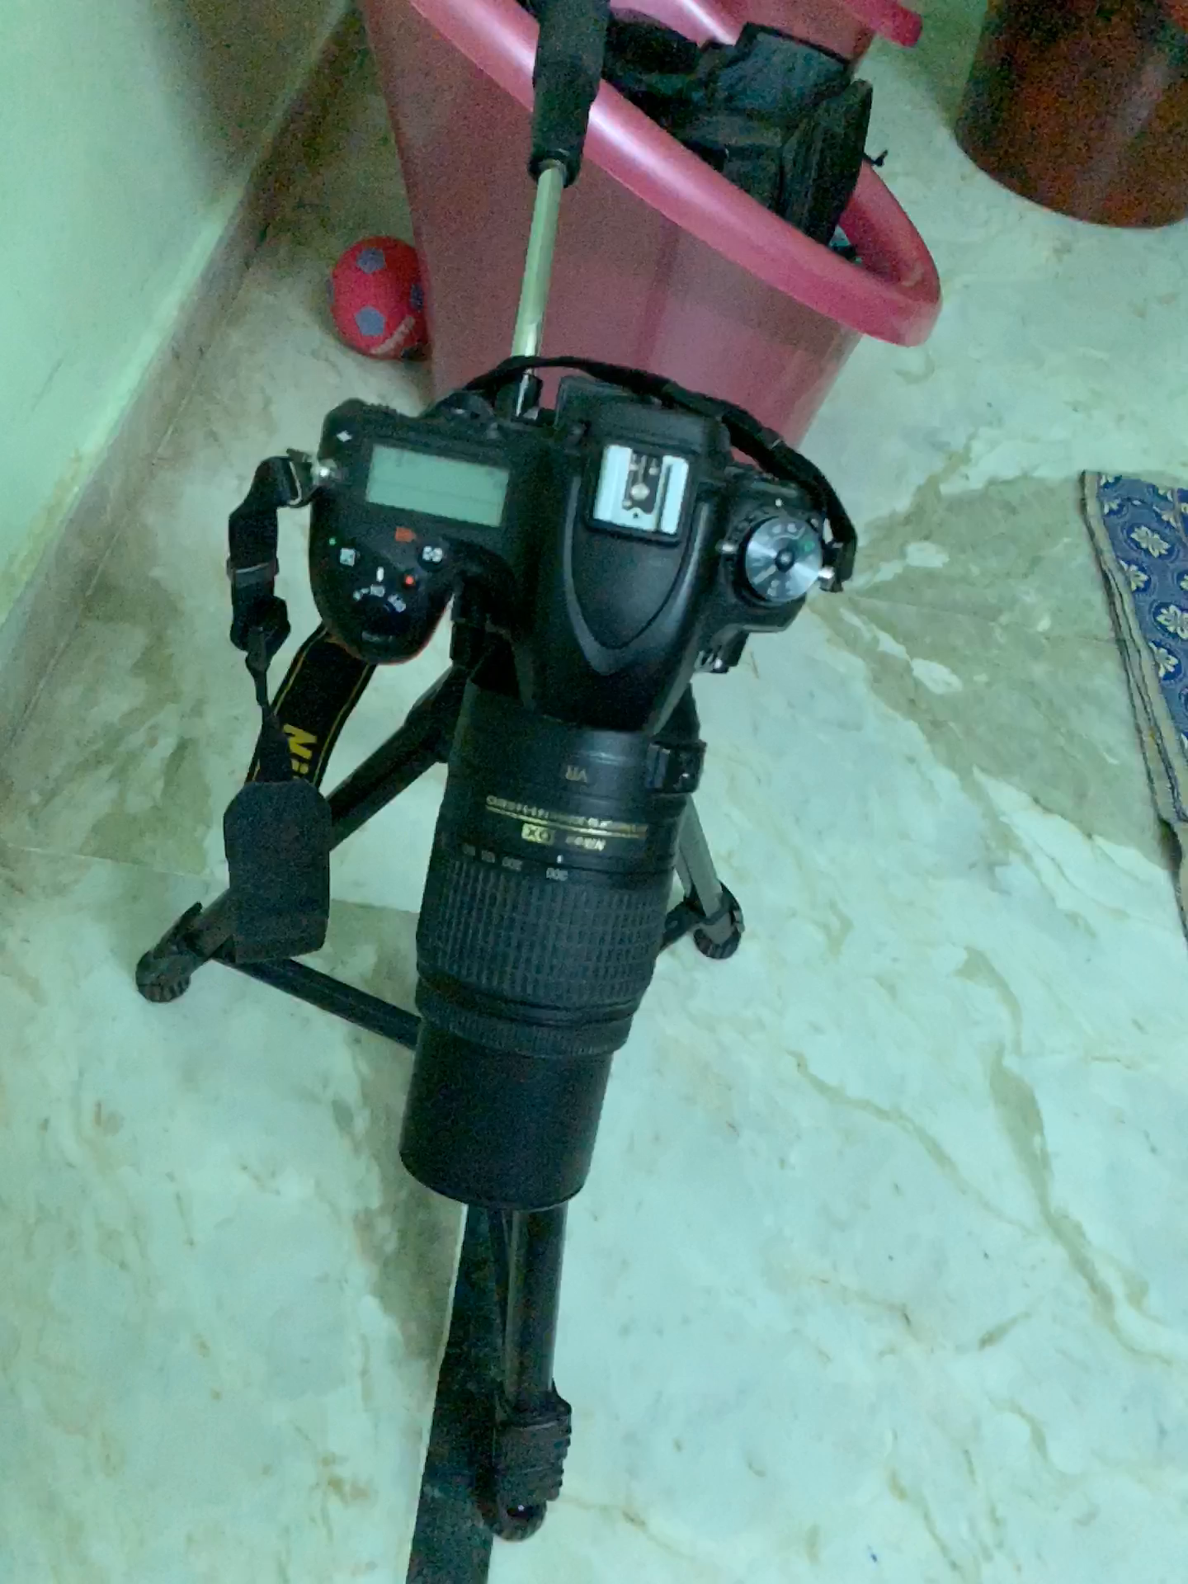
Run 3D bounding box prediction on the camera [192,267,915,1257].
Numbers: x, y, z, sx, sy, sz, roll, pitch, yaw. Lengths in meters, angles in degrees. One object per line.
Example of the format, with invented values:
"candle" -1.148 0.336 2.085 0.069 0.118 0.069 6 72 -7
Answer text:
"camera" -0.015 -0.008 0.344 0.130 0.214 0.116 12 8 -3
